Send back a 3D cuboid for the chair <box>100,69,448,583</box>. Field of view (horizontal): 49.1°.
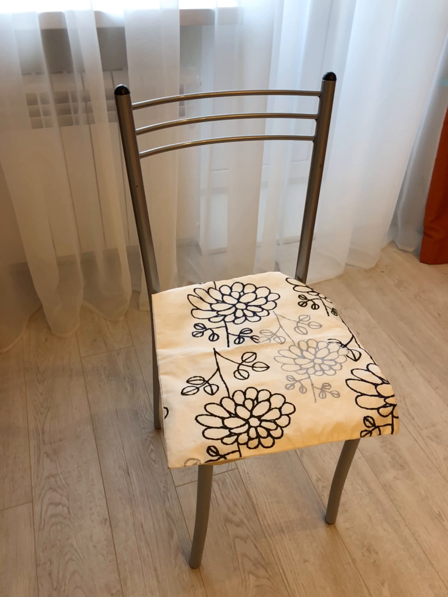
[{"bbox_3d":[0.066,0.069,0.914,0.421,0.794,0.443,-11,42,-16],"label":"chair"}]
